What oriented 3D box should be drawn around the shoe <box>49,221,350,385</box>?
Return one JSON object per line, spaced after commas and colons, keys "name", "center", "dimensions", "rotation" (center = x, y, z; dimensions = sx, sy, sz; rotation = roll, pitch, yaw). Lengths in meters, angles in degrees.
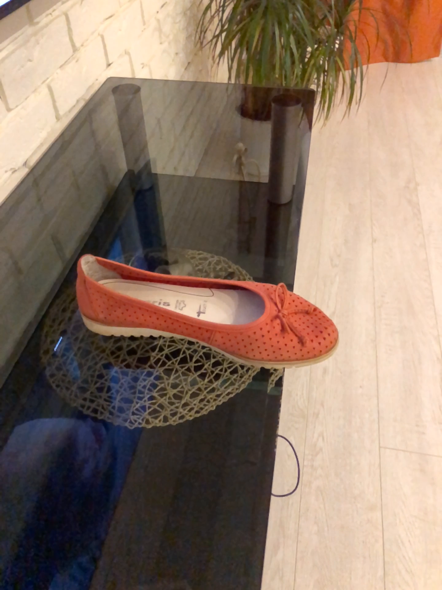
{"name": "shoe", "center": [-0.014, 0.003, 0.449], "dimensions": [0.247, 0.079, 0.091], "rotation": [7, 46, 10]}
